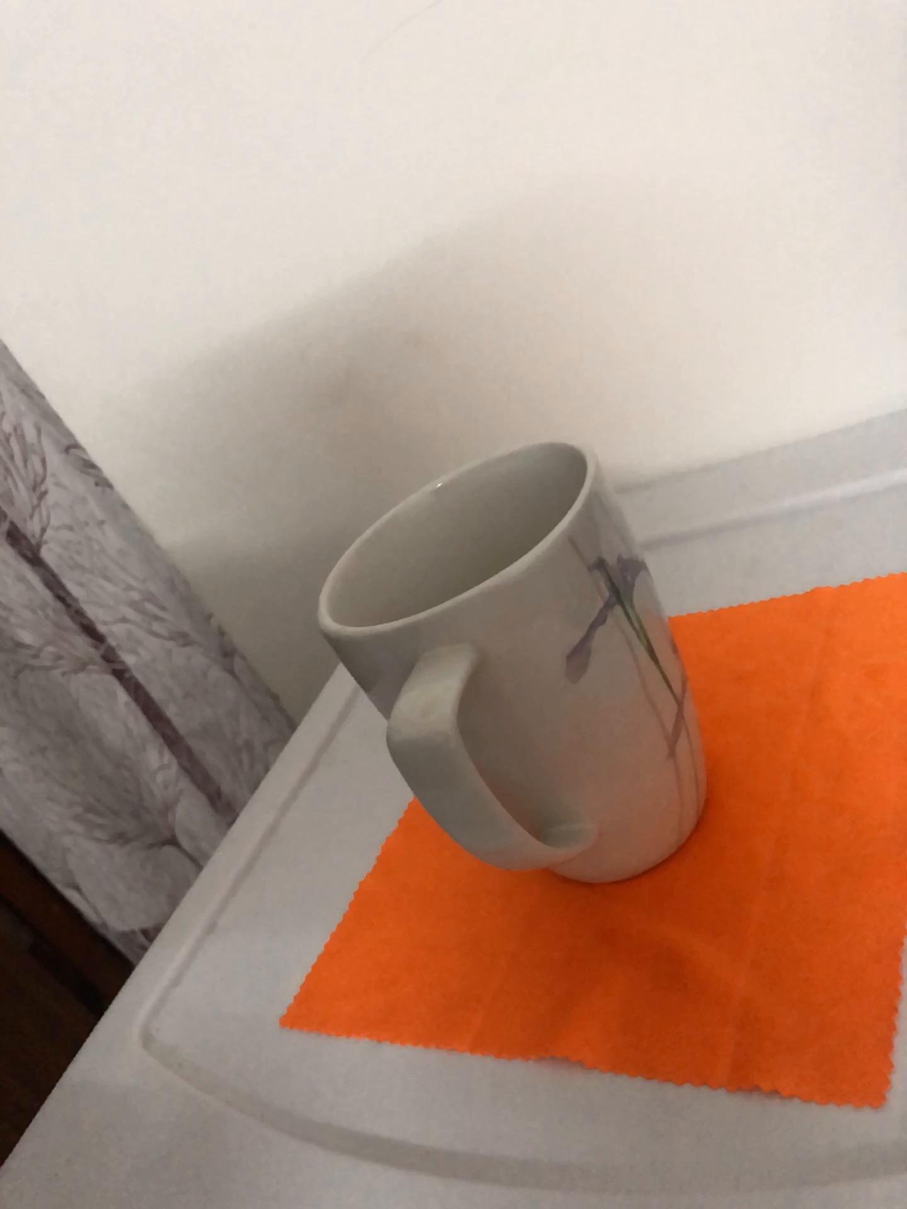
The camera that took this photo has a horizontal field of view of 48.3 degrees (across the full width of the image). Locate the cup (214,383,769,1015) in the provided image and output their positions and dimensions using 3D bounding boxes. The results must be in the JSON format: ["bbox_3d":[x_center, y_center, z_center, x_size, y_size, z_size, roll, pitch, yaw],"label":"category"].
[{"bbox_3d":[0.023,0.024,0.275,0.090,0.100,0.120,-18,28,28],"label":"cup"}]
